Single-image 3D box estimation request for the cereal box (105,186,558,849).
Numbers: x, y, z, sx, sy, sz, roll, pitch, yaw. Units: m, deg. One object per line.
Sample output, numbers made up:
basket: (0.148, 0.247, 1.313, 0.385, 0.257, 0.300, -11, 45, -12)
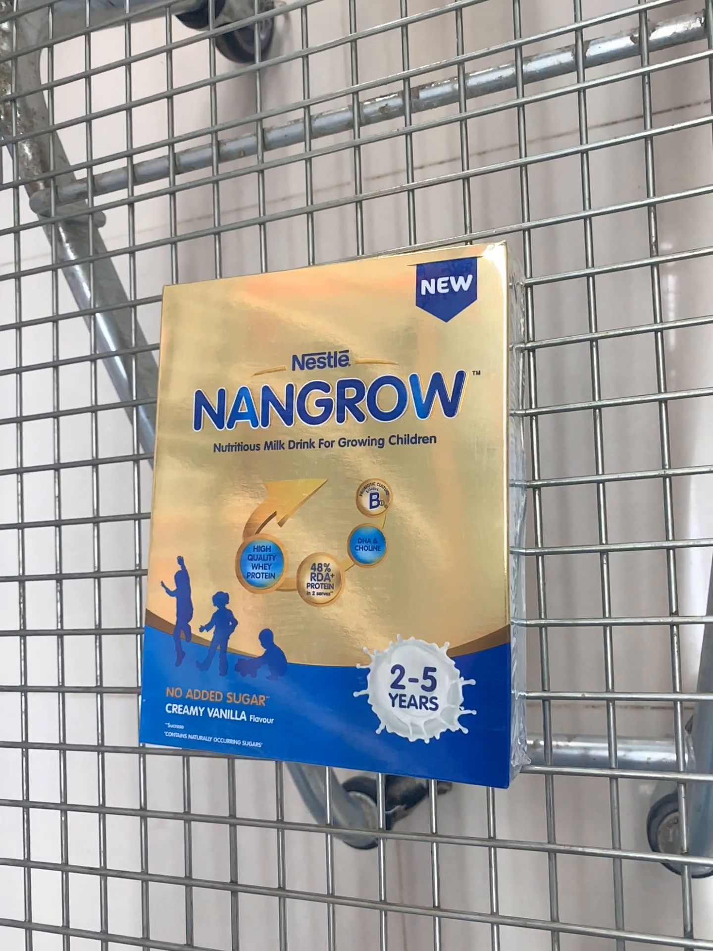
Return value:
cereal box: (-0.010, 0.013, 0.266, 0.150, 0.060, 0.190, -1, 87, 22)
